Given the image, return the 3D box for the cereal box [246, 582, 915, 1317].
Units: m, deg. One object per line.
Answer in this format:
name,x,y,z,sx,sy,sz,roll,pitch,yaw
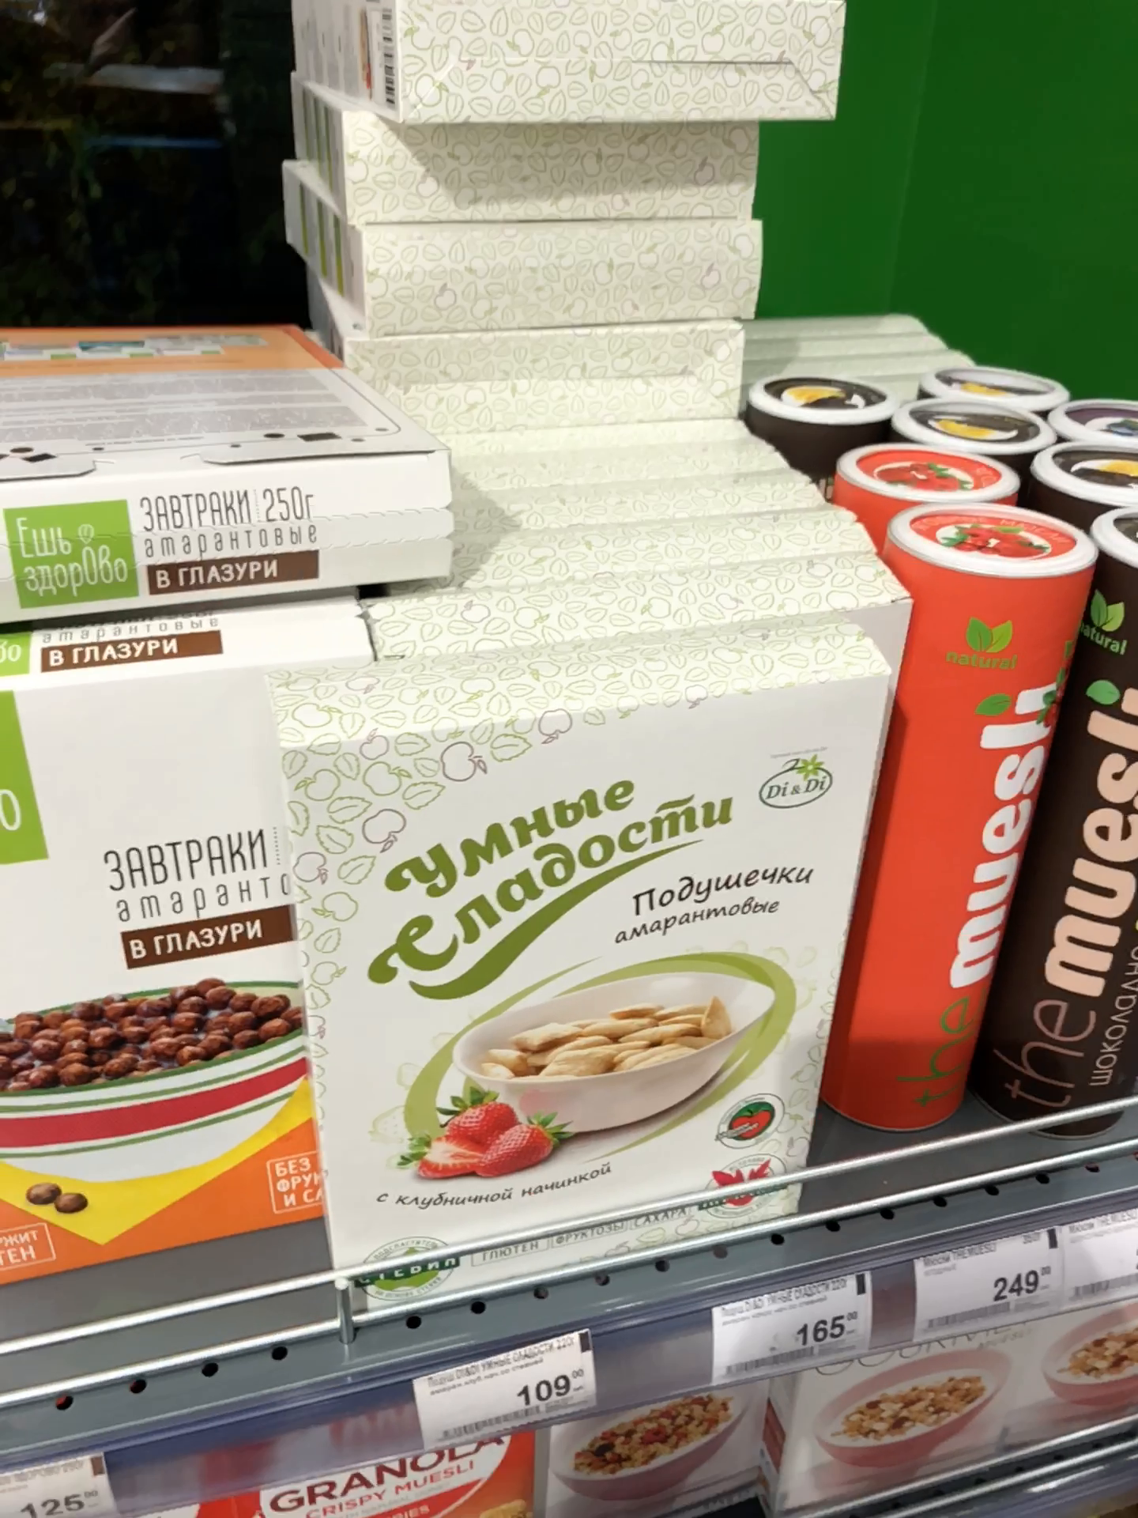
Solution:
cereal box,0.002,0.075,0.453,0.200,0.258,0.050,-7,32,-14
